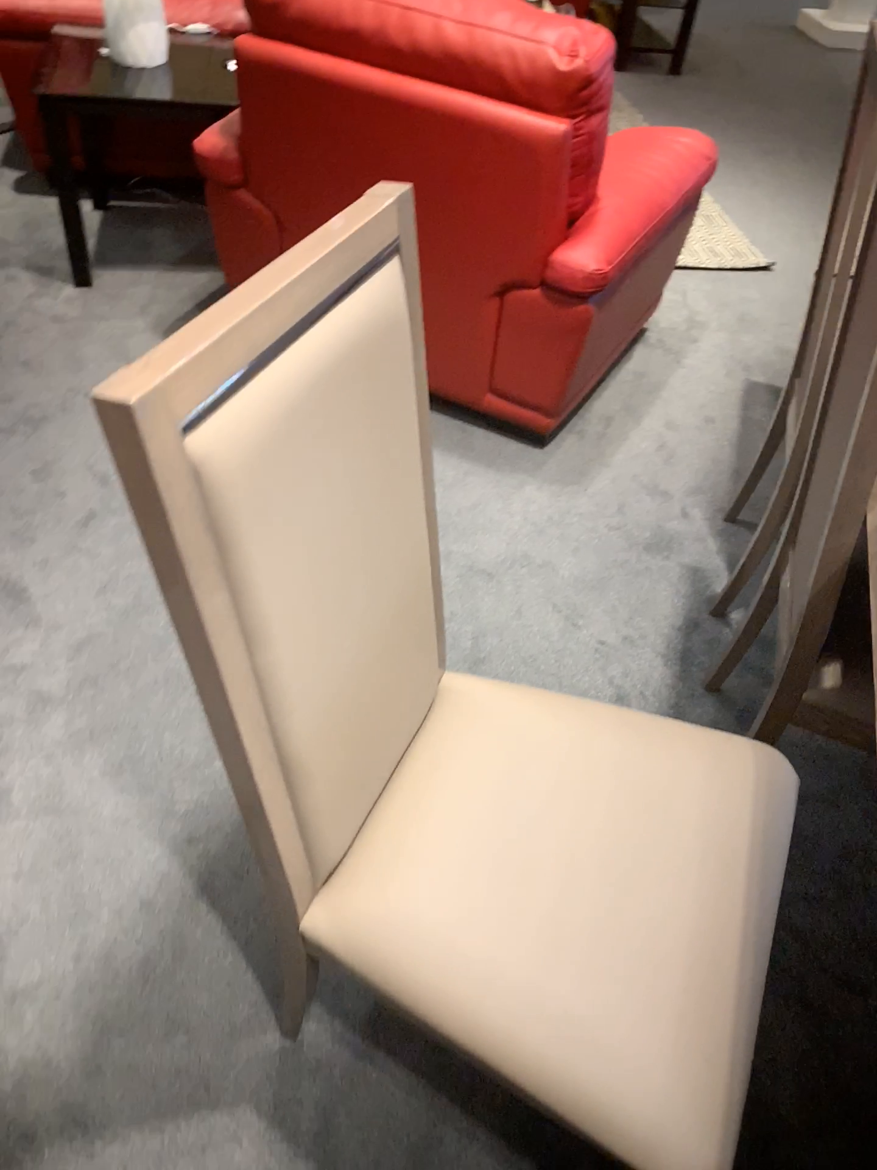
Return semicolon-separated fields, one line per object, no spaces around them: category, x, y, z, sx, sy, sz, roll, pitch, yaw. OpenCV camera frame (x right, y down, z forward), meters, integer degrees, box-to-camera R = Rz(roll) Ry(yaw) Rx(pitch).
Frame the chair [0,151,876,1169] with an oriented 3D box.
chair;0.087;0.203;0.901;0.586;0.947;0.542;19;45;12
